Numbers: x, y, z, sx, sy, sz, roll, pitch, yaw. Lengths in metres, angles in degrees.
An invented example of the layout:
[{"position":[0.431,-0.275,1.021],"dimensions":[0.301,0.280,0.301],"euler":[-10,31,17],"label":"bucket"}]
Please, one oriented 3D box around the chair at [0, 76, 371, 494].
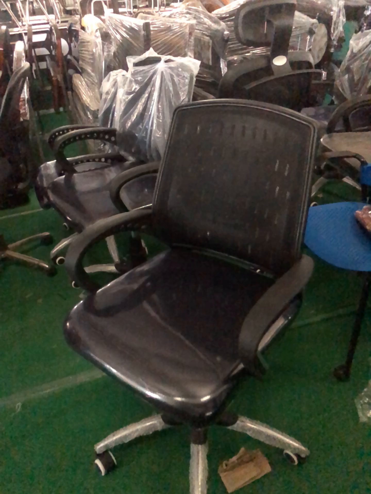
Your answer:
[{"position":[0.092,0.161,1.121],"dimensions":[0.730,0.995,0.874],"euler":[19,39,33],"label":"chair"}]
